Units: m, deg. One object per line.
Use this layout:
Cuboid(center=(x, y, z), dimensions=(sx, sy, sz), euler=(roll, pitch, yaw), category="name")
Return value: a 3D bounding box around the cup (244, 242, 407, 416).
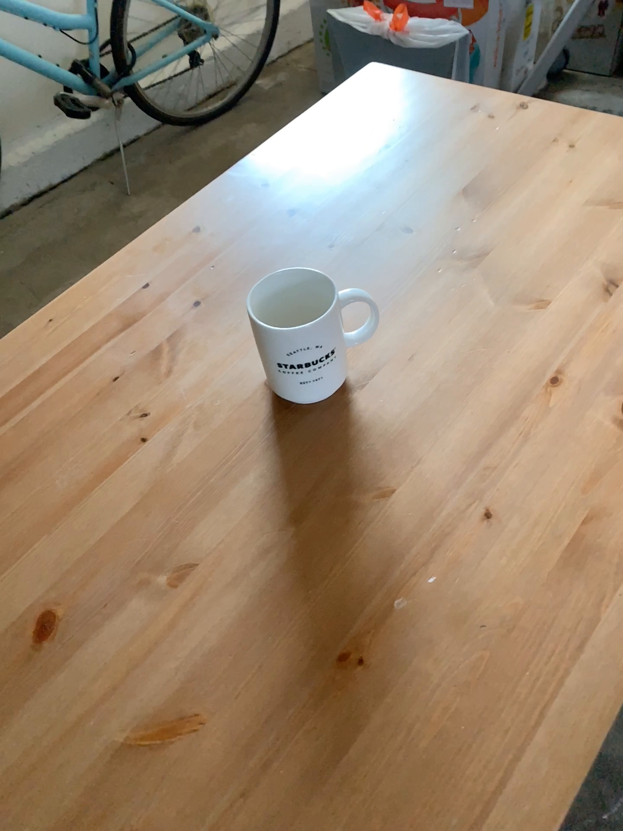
Cuboid(center=(0.016, -0.079, 0.591), dimensions=(0.120, 0.100, 0.080), euler=(-21, 53, -6), category="cup")
